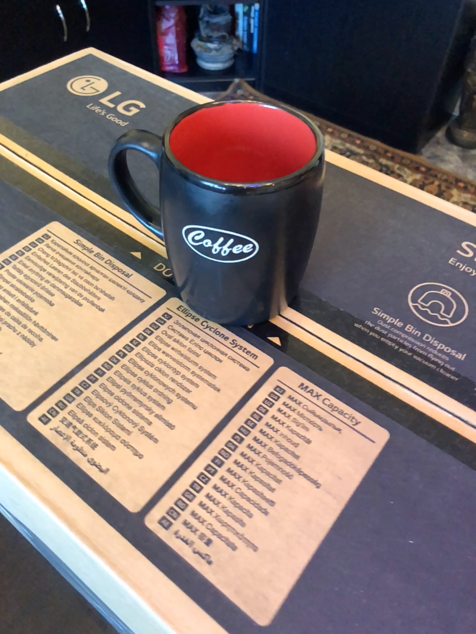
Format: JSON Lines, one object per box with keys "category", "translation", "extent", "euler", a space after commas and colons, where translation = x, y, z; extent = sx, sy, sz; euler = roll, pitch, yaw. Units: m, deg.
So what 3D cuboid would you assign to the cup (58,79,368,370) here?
{"category": "cup", "translation": [-0.009, -0.052, 0.287], "extent": [0.120, 0.090, 0.090], "euler": [20, 52, 15]}
